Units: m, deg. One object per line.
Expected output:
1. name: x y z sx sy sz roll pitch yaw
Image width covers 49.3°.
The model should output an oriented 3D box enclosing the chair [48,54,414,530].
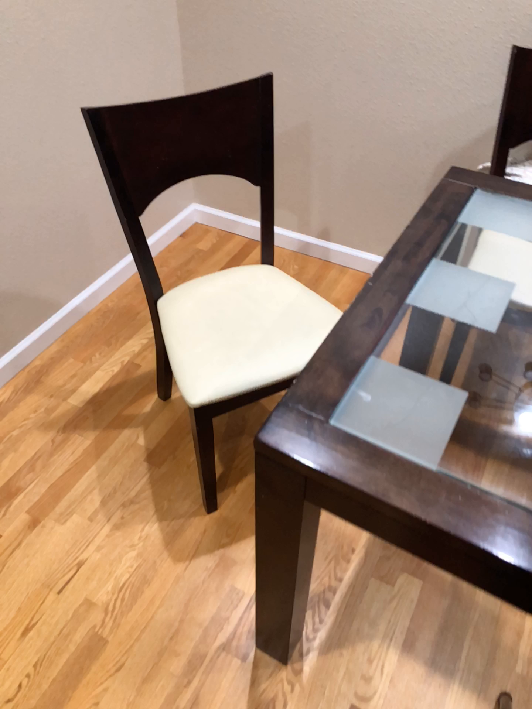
1. chair: -0.098 -0.128 1.403 0.521 0.905 0.532 -18 47 -19
